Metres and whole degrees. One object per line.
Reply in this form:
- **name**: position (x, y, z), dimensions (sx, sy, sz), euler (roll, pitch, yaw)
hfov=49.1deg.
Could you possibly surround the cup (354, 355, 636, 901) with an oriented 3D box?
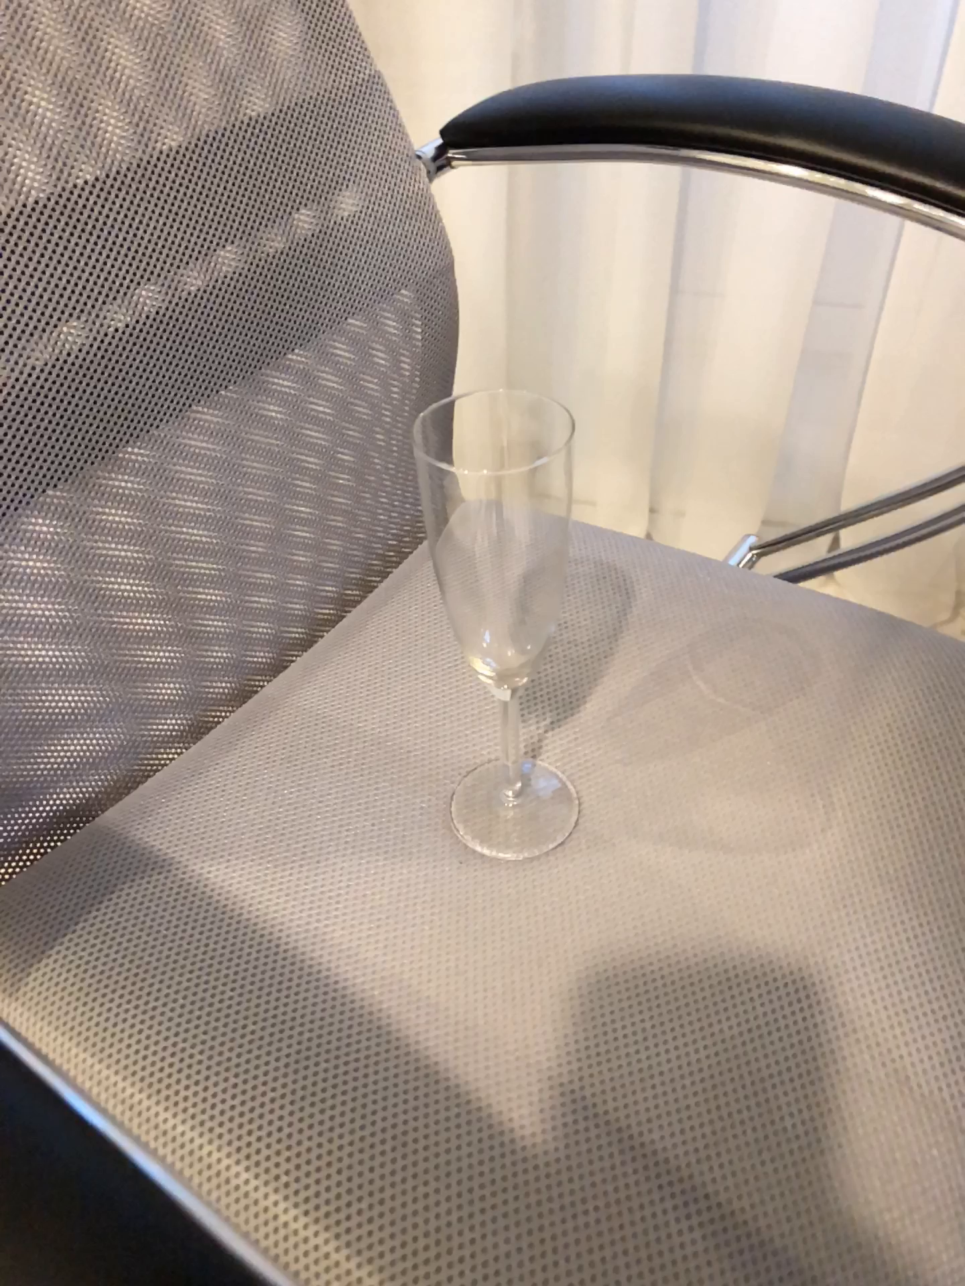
- **cup**: position (0.010, 0.002, 0.469), dimensions (0.075, 0.228, 0.075), euler (-2, 41, 2)
